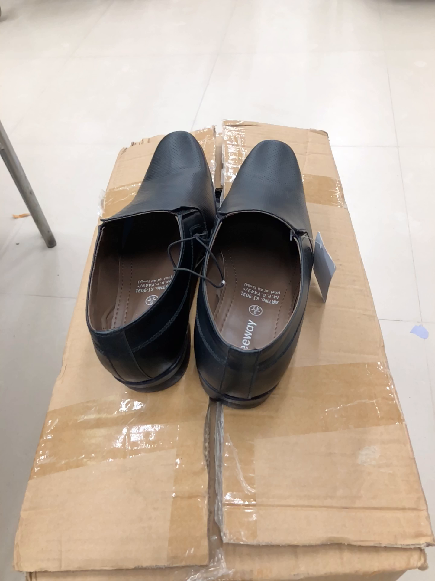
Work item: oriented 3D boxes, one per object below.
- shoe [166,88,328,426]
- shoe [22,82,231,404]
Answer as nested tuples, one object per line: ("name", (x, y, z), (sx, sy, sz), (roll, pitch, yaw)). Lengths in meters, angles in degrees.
("shoe", (0.038, -0.055, 0.436), (0.100, 0.099, 0.322), (5, 50, 5))
("shoe", (-0.058, -0.064, 0.451), (0.100, 0.099, 0.322), (-3, 49, 12))
